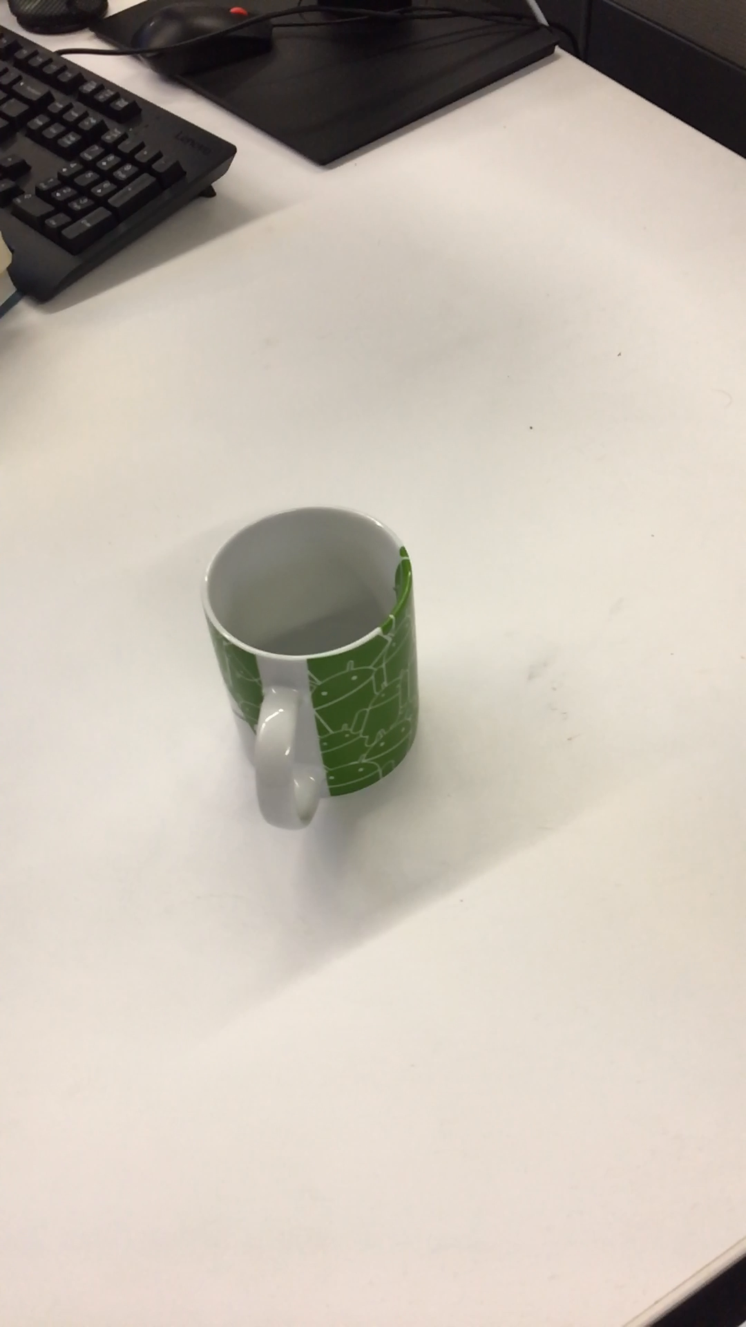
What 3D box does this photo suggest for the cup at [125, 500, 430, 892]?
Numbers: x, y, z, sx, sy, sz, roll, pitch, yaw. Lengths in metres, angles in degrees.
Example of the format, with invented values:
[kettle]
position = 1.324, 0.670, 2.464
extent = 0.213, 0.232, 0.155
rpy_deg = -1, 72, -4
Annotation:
[cup]
position = -0.028, 0.012, 0.436
extent = 0.090, 0.090, 0.120
rpy_deg = 3, 52, 7
